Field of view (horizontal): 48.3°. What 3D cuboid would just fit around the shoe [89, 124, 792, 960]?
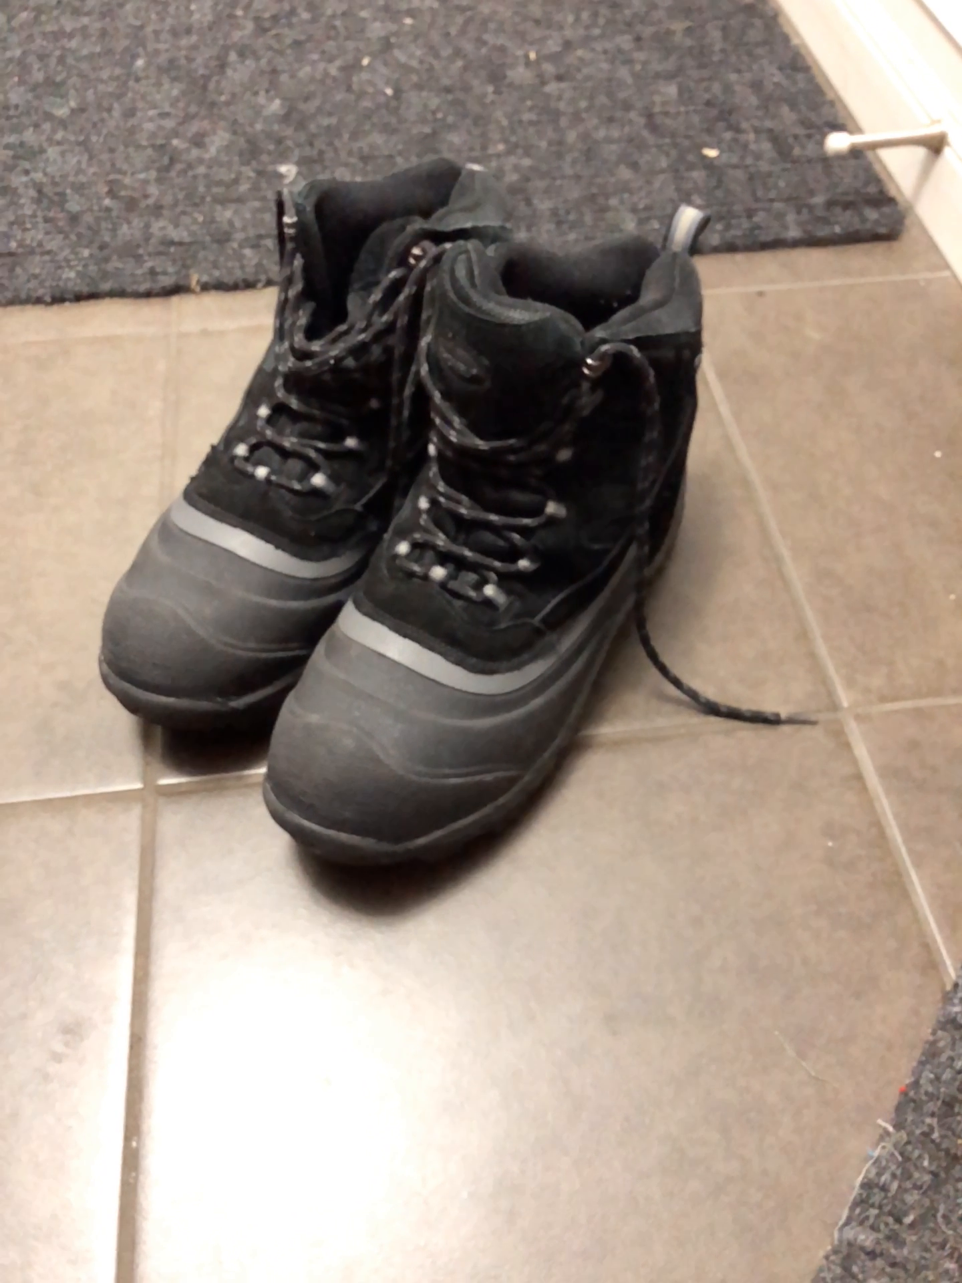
[{"bbox_3d":[0.003,-0.049,0.470,0.120,0.200,0.290,26,57,17],"label":"shoe"}]

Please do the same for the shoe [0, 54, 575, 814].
[{"bbox_3d":[-0.086,-0.104,0.512,0.120,0.200,0.290,27,57,18],"label":"shoe"}]
